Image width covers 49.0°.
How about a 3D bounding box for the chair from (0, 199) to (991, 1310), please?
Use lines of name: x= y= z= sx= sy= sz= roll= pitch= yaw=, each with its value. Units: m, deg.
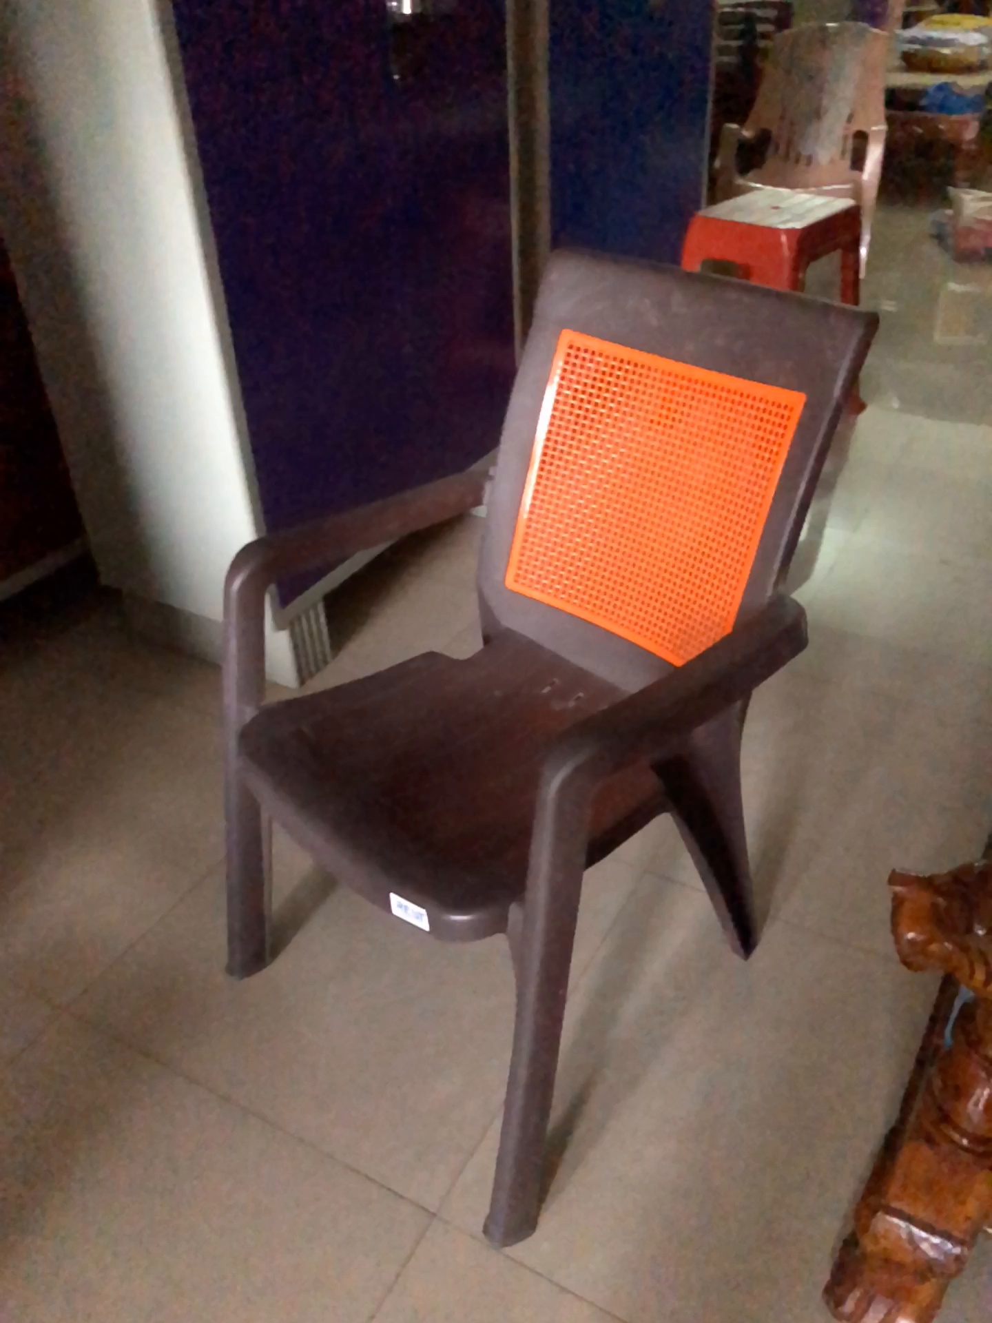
chair: x=0.014 y=0.038 z=1.343 sx=0.713 sy=0.935 sz=0.711 roll=-31 pitch=43 yaw=-34
